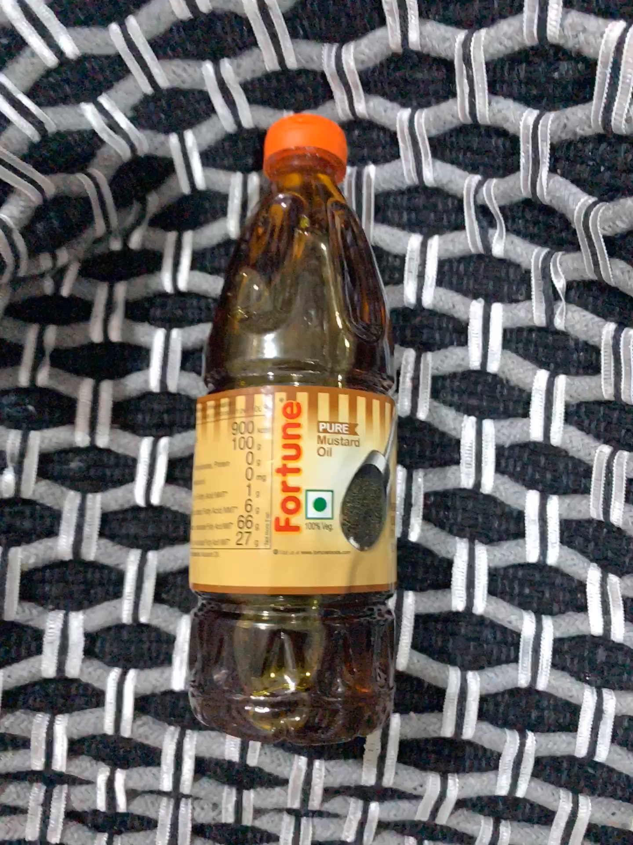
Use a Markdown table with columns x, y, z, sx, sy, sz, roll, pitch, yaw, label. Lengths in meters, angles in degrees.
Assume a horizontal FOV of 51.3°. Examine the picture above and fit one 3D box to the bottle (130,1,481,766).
| x | y | z | sx | sy | sz | roll | pitch | yaw | label |
| --- | --- | --- | --- | --- | --- | --- | --- | --- | --- |
| -0.003 | -0.012 | 0.237 | 0.080 | 0.080 | 0.220 | -14 | 70 | 48 | bottle |
